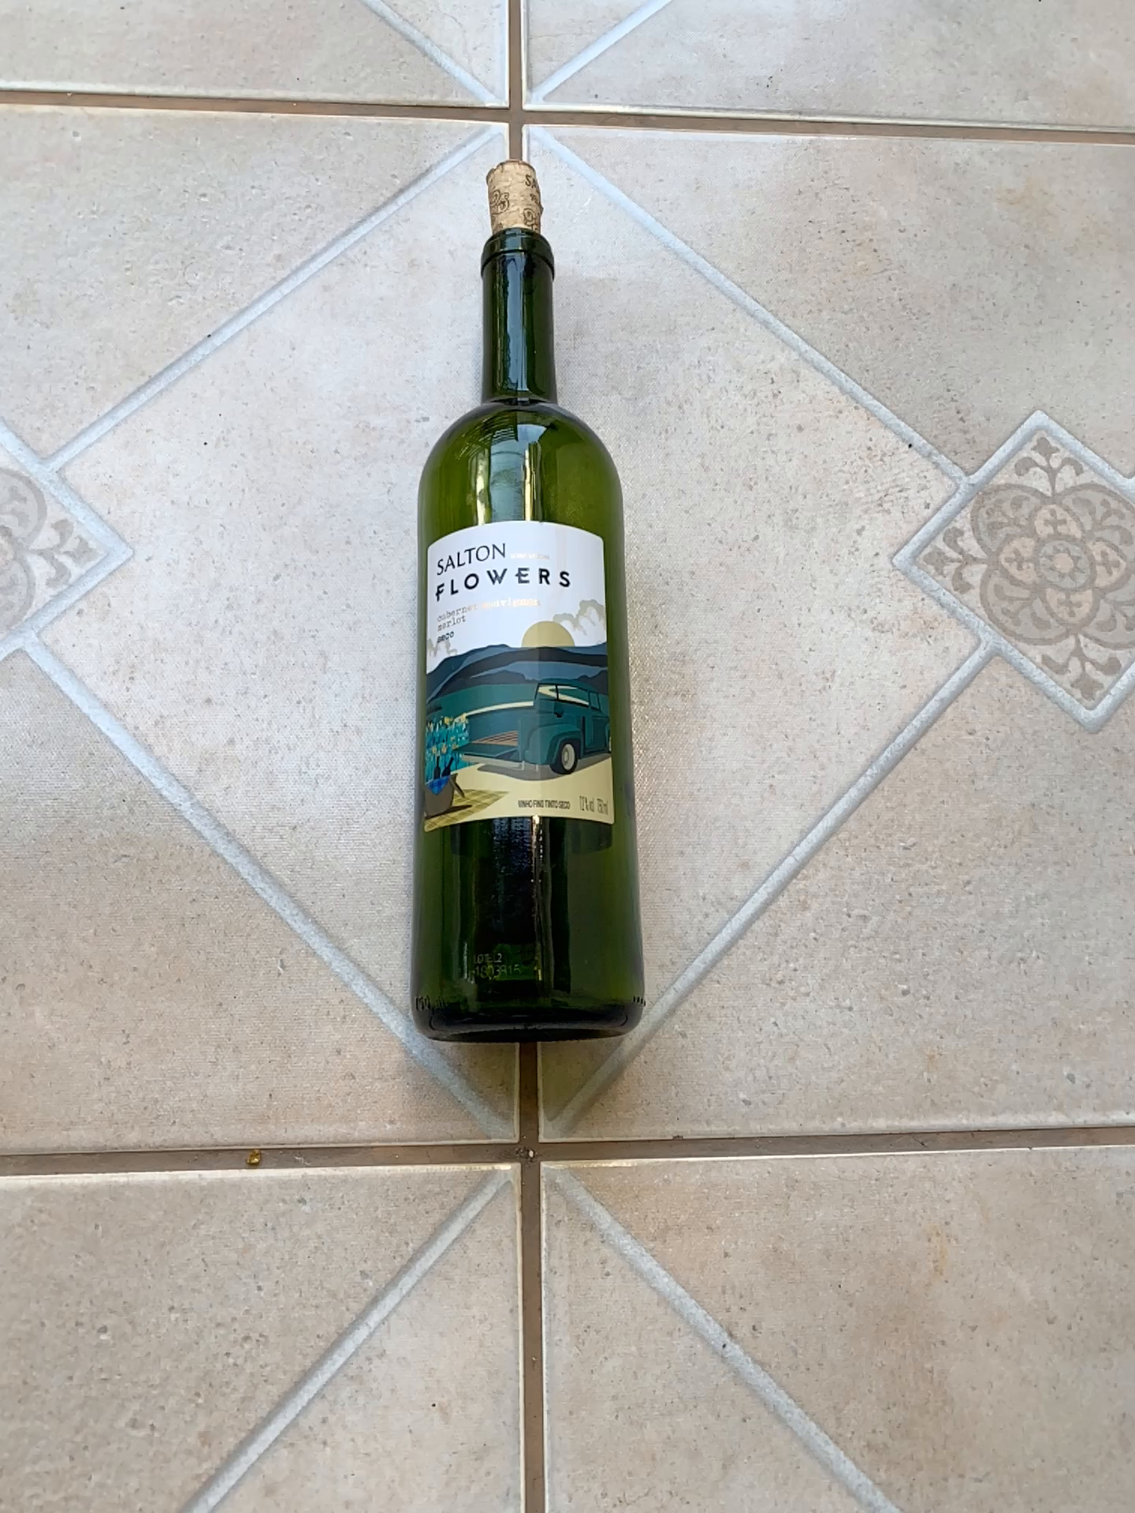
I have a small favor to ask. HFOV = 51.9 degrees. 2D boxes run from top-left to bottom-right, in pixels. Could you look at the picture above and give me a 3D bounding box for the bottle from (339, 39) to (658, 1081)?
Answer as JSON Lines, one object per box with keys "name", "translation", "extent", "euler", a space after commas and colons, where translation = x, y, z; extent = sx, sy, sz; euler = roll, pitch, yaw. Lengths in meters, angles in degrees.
{"name": "bottle", "translation": [-0.026, -0.072, 0.404], "extent": [0.080, 0.080, 0.350], "euler": [-5, 74, 3]}
